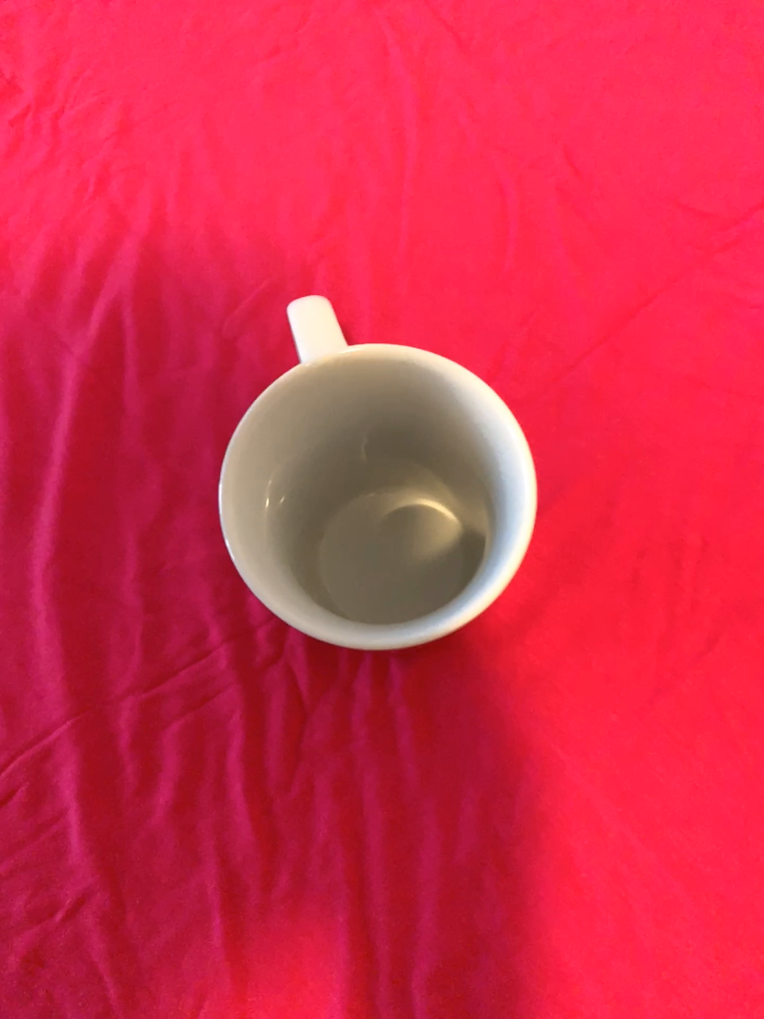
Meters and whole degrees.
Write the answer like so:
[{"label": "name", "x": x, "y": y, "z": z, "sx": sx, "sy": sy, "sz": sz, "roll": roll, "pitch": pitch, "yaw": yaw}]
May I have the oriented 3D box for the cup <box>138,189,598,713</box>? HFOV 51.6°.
[{"label": "cup", "x": -0.005, "y": -0.007, "z": 0.237, "sx": 0.080, "sy": 0.100, "sz": 0.110, "roll": -18, "pitch": 74, "yaw": -3}]
